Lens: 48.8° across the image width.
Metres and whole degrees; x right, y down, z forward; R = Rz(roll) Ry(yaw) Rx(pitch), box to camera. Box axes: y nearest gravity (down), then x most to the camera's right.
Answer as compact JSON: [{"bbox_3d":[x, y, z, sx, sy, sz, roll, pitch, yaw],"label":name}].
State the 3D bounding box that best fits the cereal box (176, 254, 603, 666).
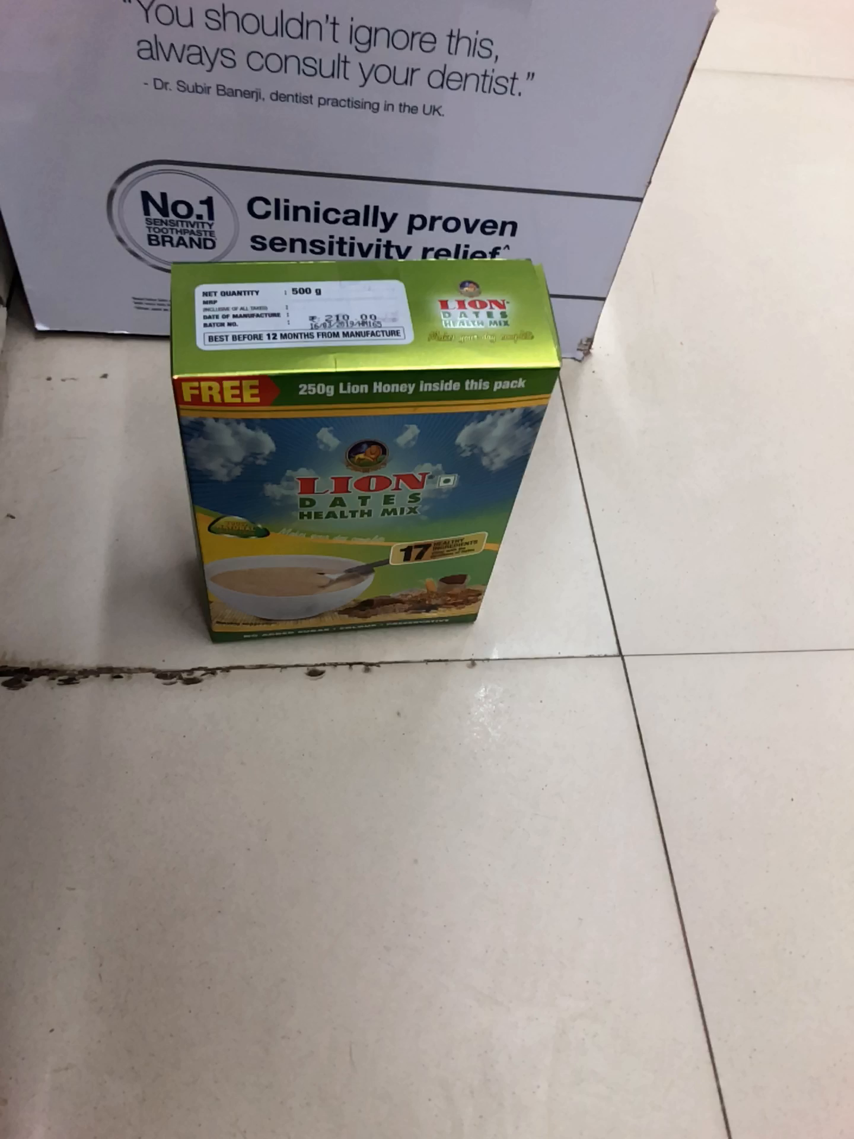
[{"bbox_3d":[-0.024,-0.037,0.399,0.140,0.179,0.070,-4,58,-10],"label":"cereal box"}]
